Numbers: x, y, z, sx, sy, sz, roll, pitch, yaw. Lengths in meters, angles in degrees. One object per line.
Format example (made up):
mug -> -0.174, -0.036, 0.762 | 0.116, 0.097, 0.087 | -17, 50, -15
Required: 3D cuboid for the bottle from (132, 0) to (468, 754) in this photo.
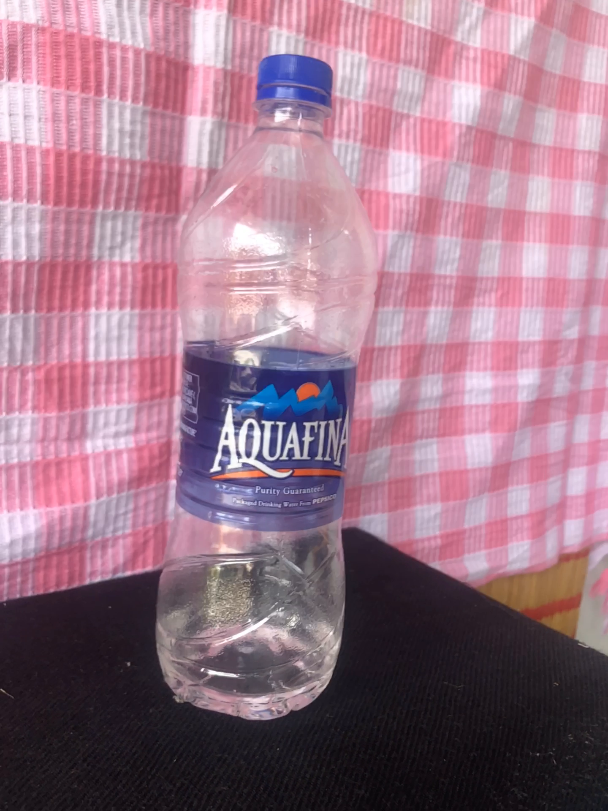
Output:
bottle -> -0.013, -0.003, 0.270 | 0.090, 0.259, 0.070 | 4, 12, -15
